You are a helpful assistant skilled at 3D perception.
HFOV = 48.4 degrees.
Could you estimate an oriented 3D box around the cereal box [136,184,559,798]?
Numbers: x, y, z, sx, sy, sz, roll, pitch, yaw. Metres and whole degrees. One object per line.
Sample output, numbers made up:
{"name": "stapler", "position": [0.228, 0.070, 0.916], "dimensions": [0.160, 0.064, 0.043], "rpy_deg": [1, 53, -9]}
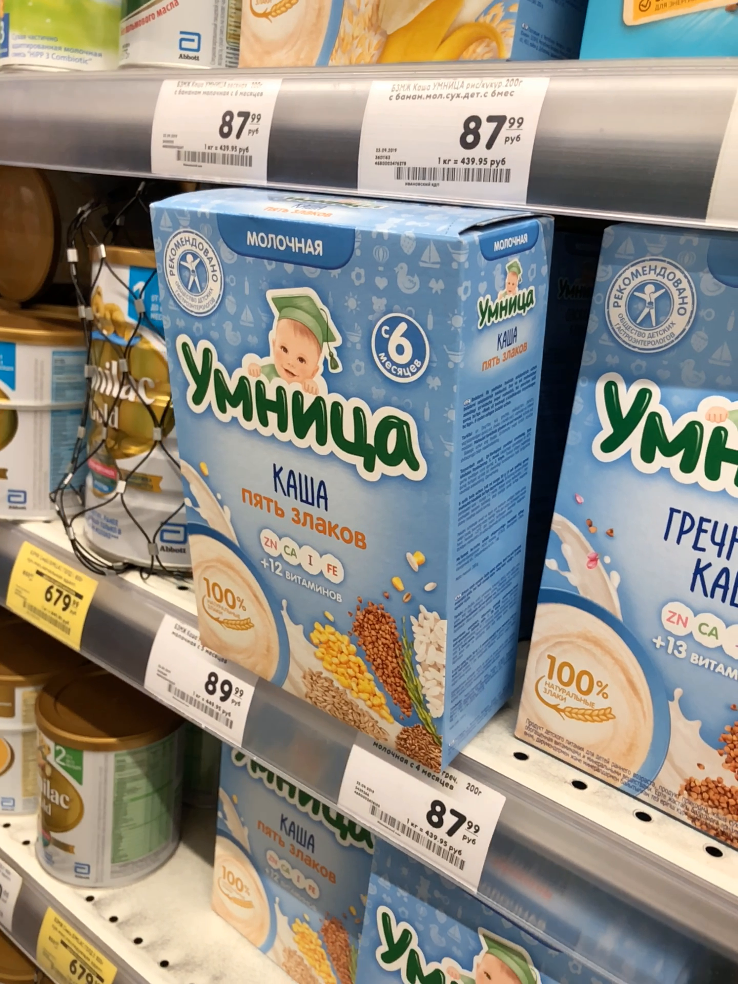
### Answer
{"name": "cereal box", "position": [-0.009, -0.007, 0.328], "dimensions": [0.140, 0.209, 0.060], "rpy_deg": [18, 32, 35]}
